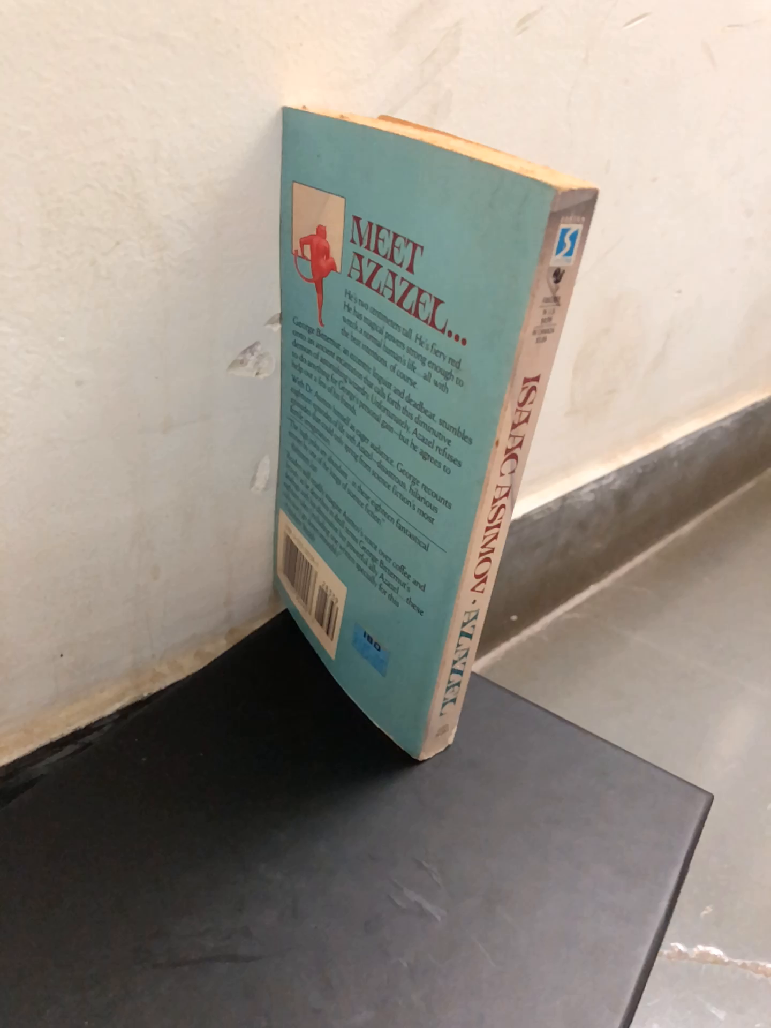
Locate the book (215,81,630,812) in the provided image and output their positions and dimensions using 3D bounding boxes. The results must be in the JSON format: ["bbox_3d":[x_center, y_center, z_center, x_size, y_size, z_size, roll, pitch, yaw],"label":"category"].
[{"bbox_3d":[-0.010,-0.026,0.282,0.030,0.189,0.150,-15,38,-31],"label":"book"}]
